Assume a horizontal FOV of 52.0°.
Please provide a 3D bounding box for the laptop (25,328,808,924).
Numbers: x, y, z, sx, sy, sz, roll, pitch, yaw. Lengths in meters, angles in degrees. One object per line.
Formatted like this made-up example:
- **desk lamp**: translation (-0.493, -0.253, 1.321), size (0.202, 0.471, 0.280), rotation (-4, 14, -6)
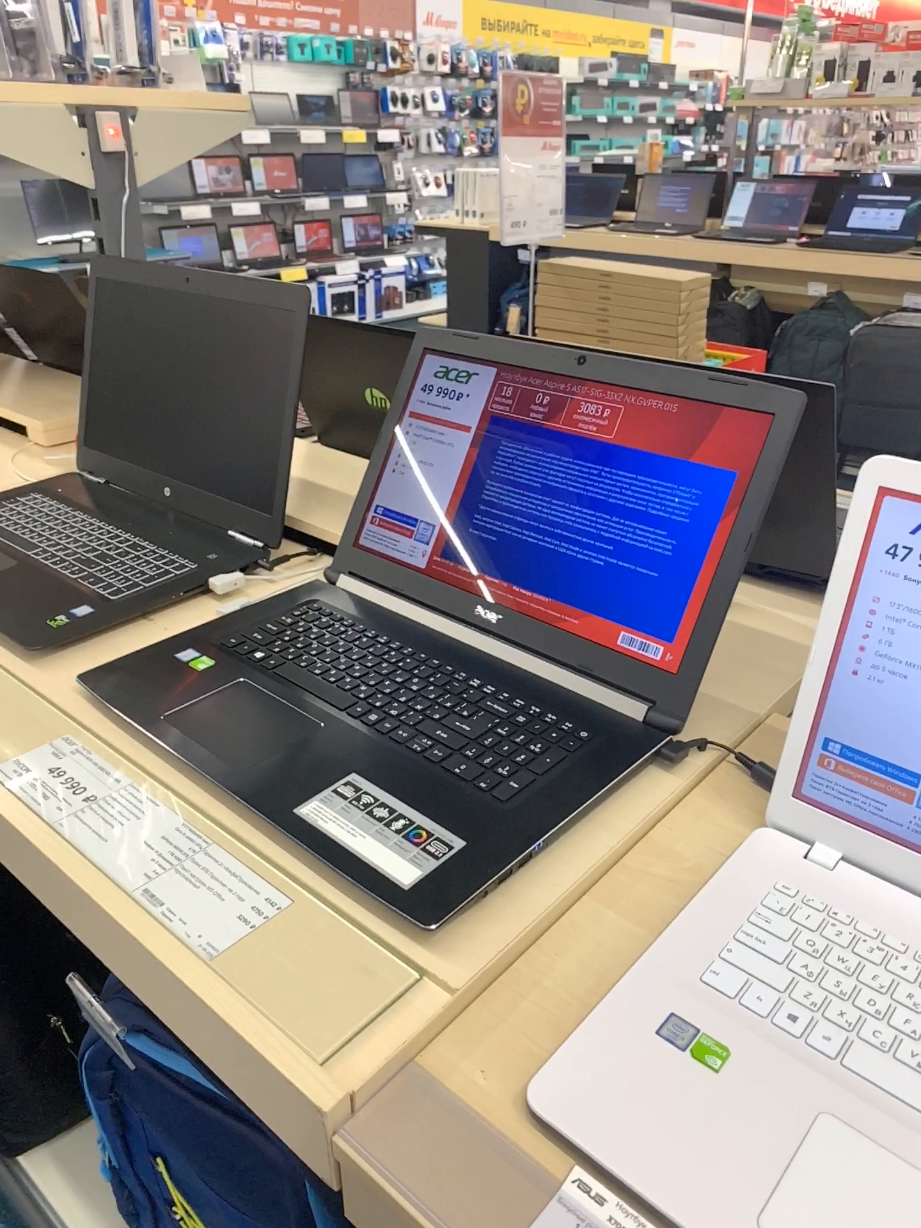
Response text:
- **laptop**: translation (-0.030, -0.057, 0.773), size (0.421, 0.235, 0.421), rotation (23, 35, 37)
